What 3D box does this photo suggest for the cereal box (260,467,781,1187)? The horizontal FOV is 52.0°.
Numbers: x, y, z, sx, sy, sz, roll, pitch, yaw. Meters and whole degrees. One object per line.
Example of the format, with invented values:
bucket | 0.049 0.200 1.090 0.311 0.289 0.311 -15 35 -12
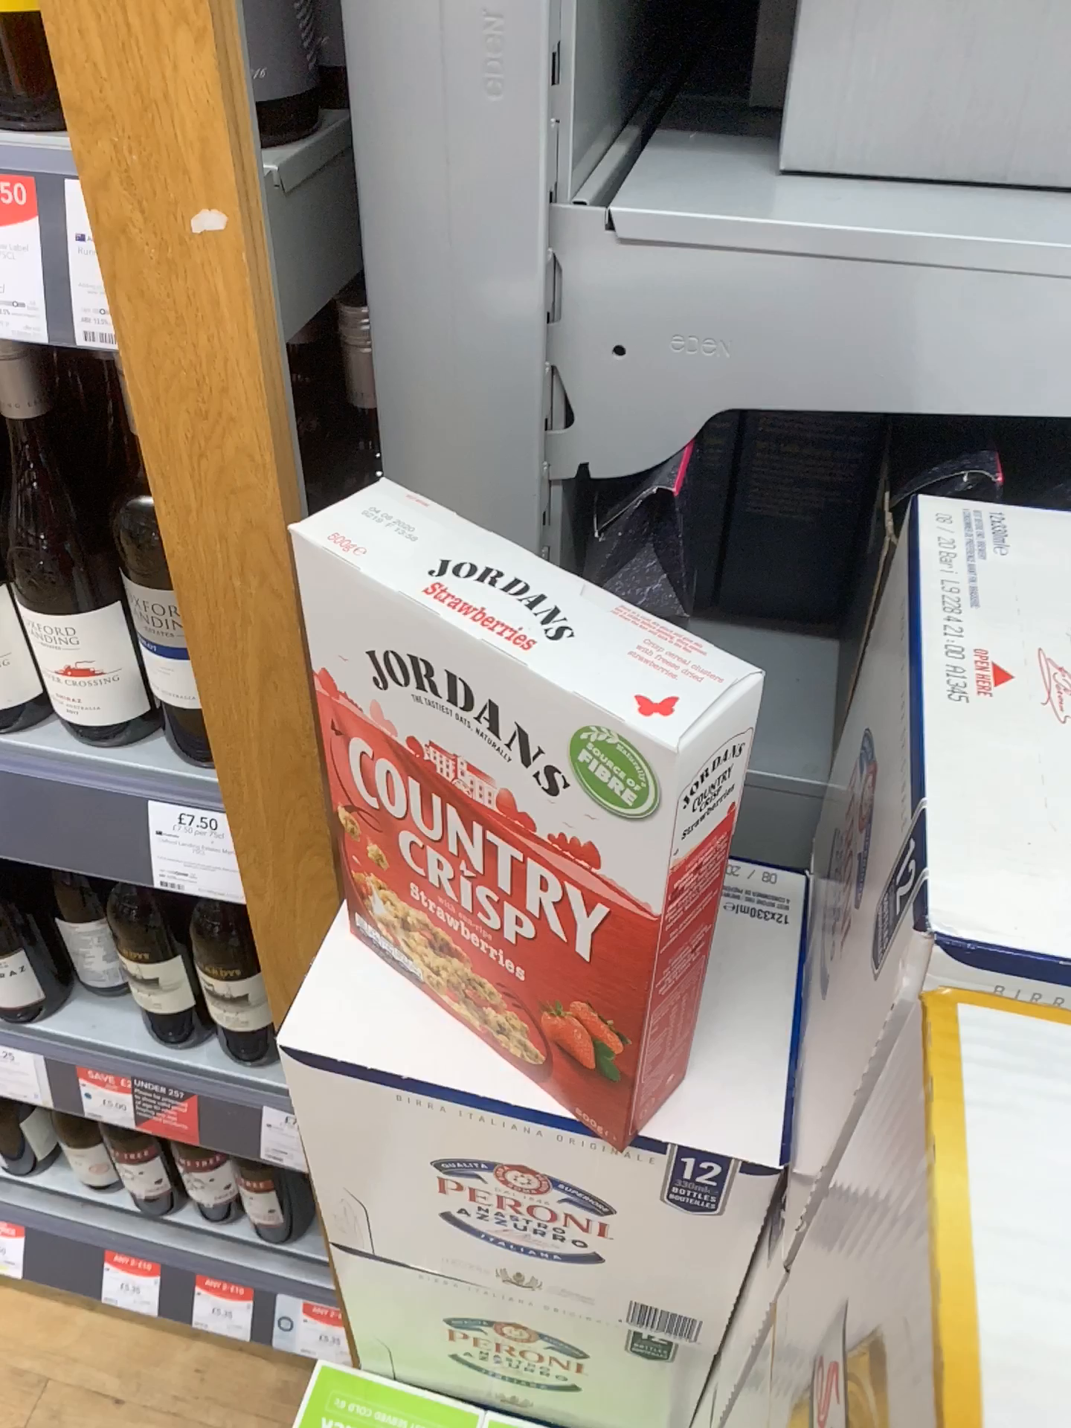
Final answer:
cereal box | -0.015 0.052 0.448 0.191 0.247 0.050 32 50 30
